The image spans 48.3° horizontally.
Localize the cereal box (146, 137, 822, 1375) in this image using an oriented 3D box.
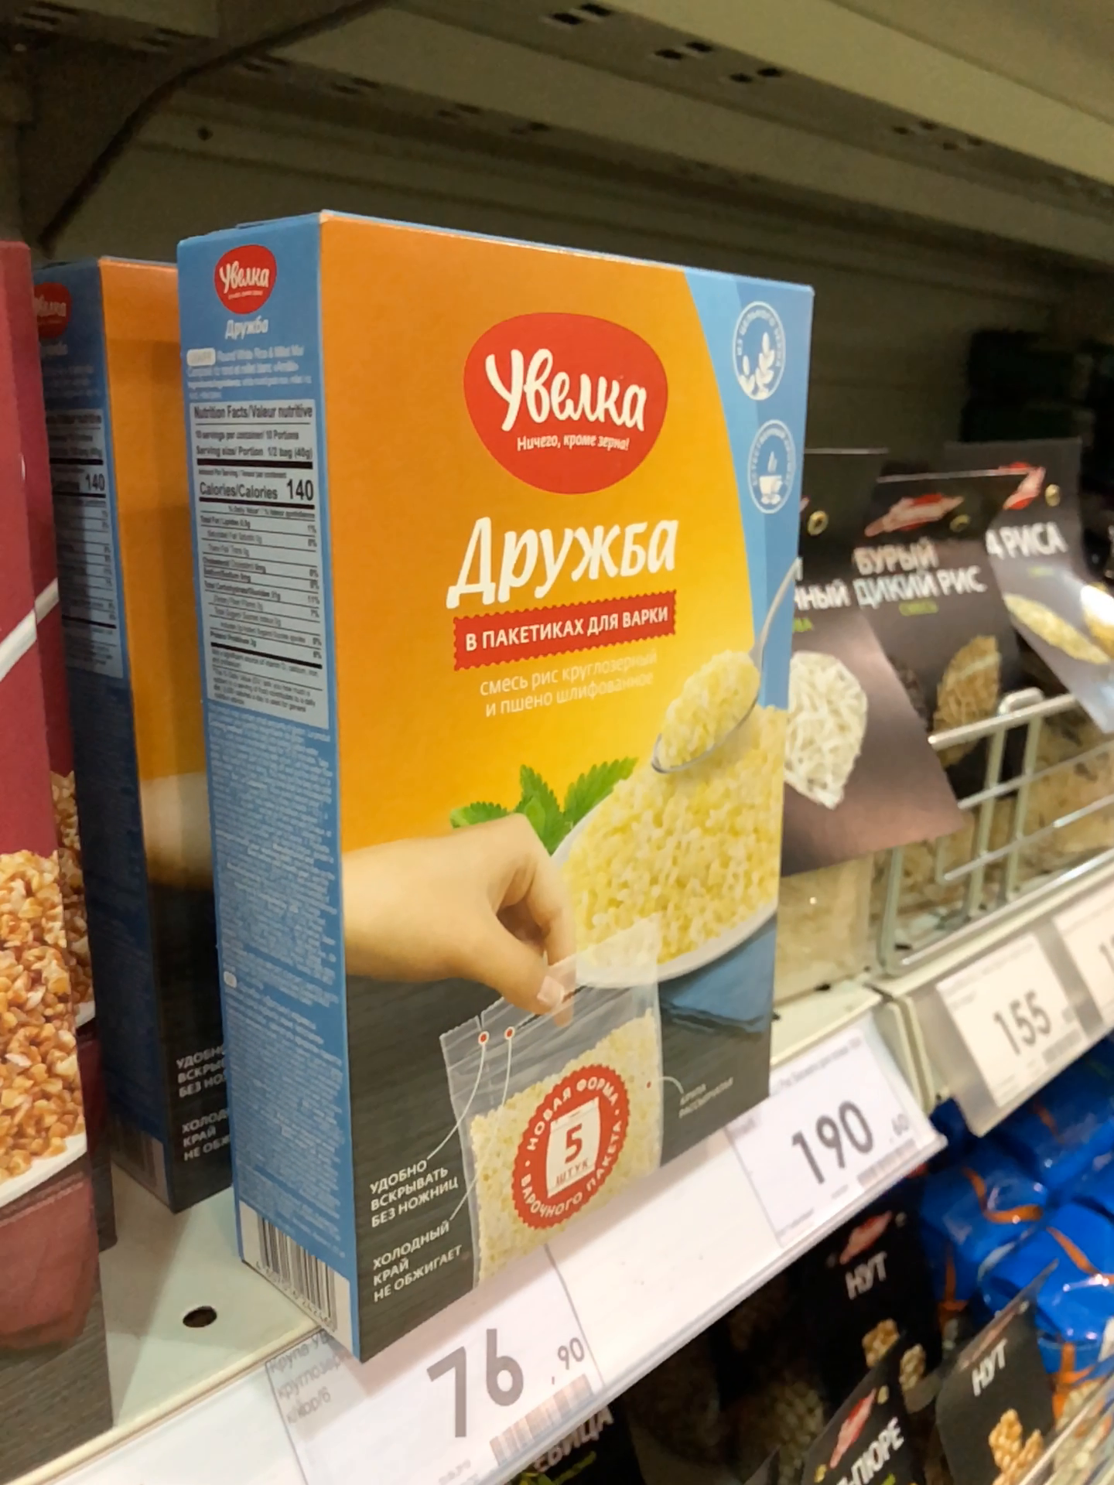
[{"bbox_3d":[-0.005,-0.002,0.244,0.040,0.189,0.130,12,17,41],"label":"cereal box"}]
